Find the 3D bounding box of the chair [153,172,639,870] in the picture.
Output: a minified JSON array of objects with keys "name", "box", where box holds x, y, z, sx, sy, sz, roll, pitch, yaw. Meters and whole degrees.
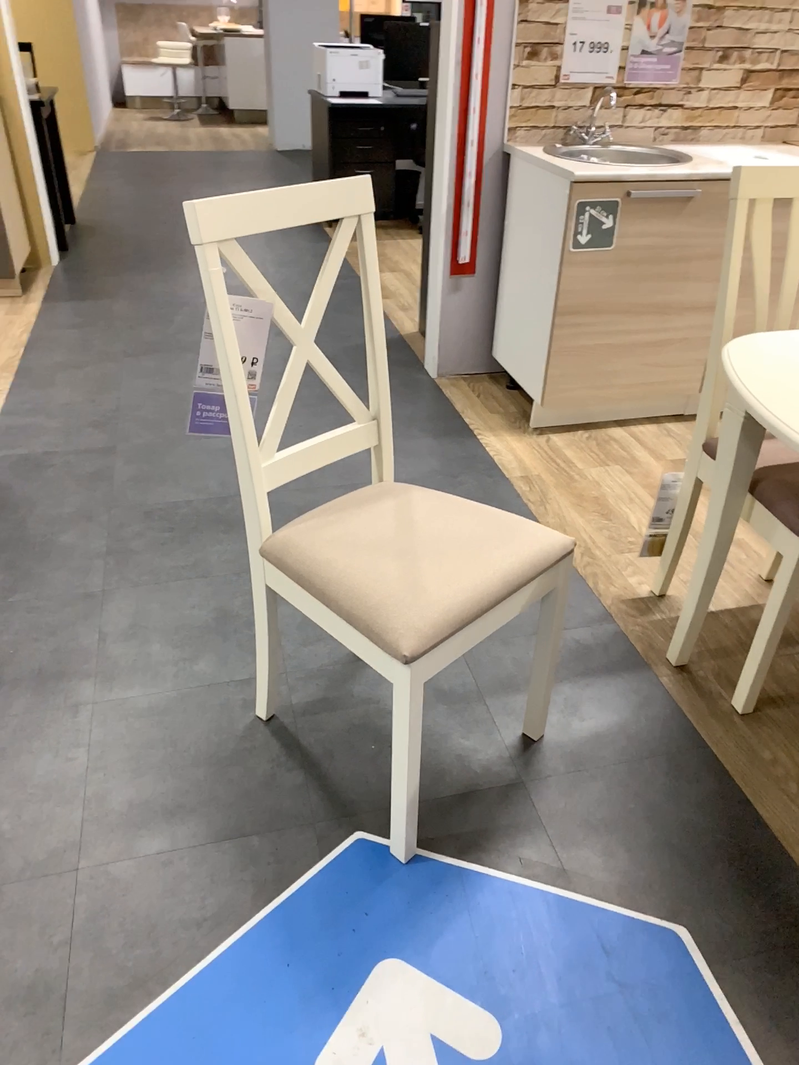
[{"name":"chair","box":[-0.023,-0.029,1.411,0.529,0.988,0.437,28,41,35]}]
